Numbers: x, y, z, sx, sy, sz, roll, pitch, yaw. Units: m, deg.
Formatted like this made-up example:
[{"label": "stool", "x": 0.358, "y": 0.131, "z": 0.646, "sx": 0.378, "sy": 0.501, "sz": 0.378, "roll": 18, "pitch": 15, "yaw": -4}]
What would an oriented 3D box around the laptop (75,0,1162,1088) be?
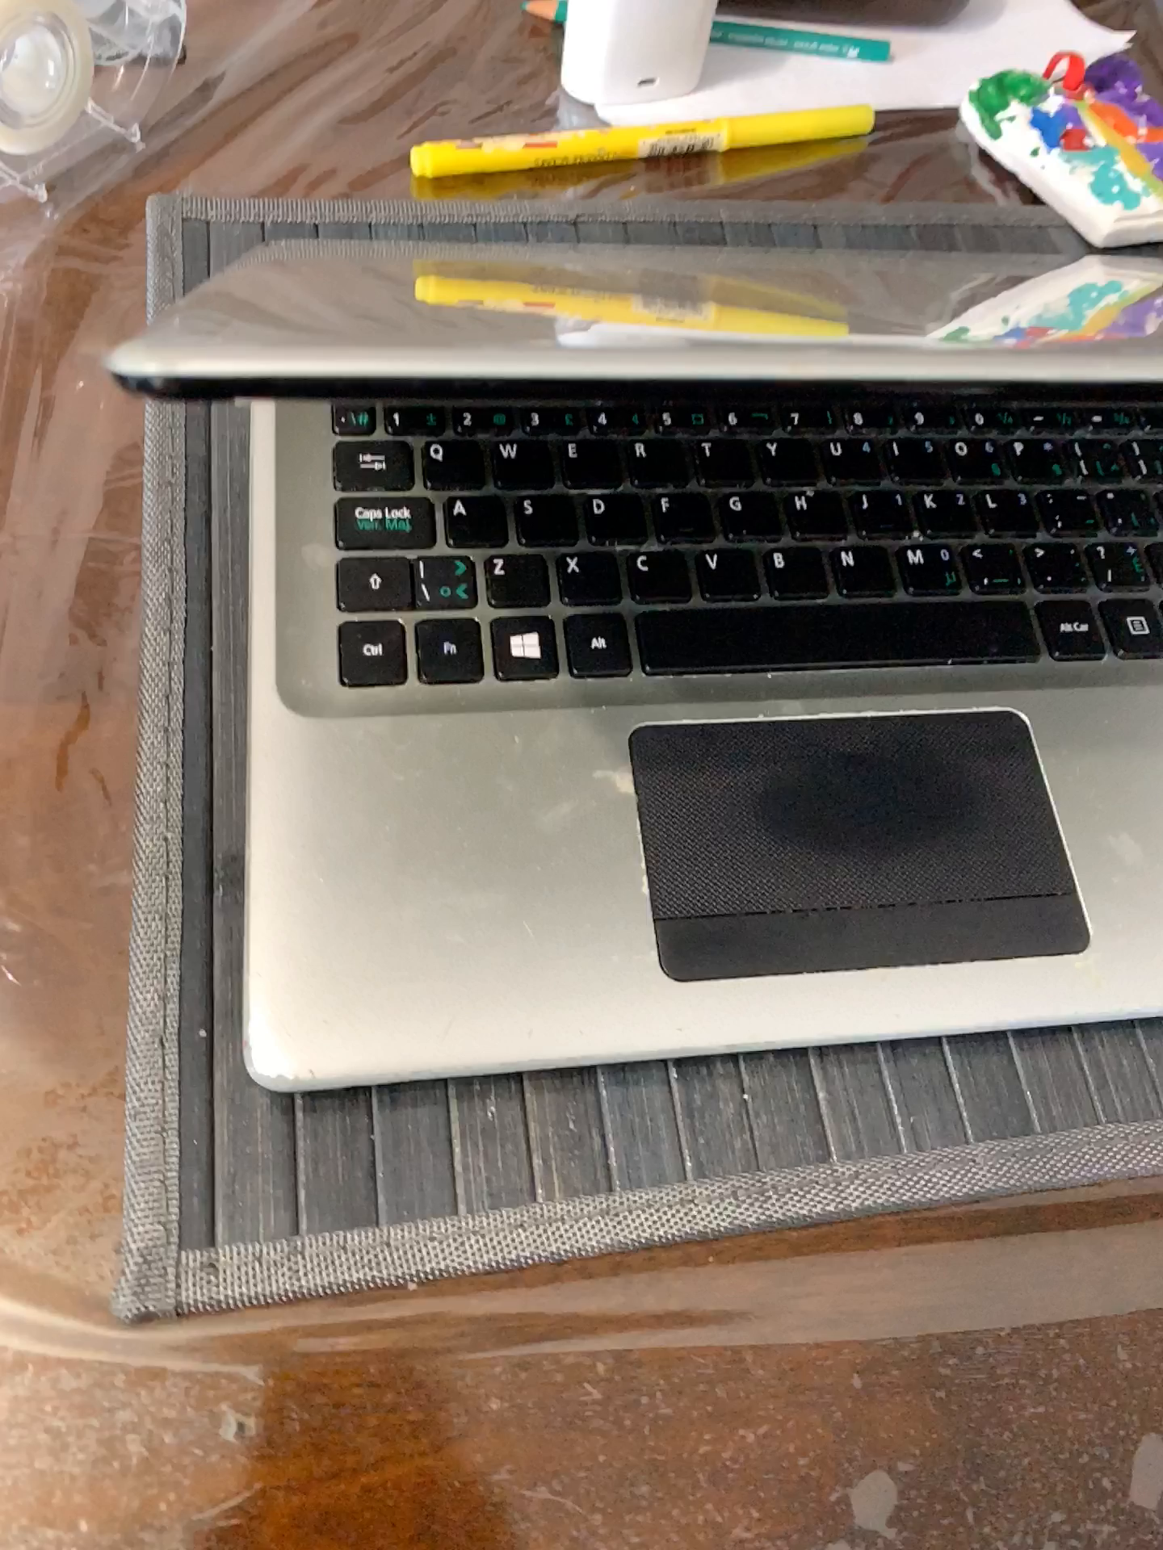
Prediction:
[{"label": "laptop", "x": 0.095, "y": -0.075, "z": 0.265, "sx": 0.343, "sy": 0.141, "sz": 0.225, "roll": -3, "pitch": 65, "yaw": -9}]
